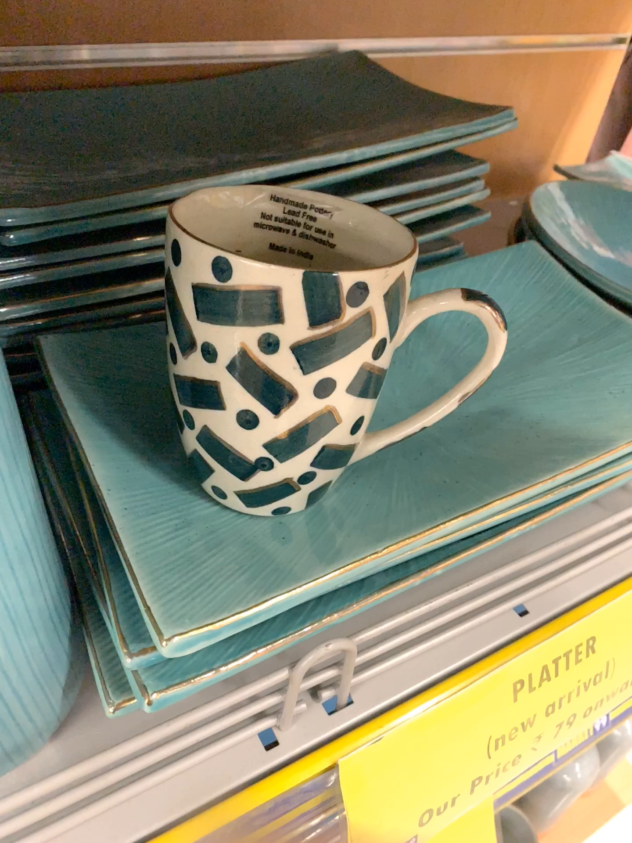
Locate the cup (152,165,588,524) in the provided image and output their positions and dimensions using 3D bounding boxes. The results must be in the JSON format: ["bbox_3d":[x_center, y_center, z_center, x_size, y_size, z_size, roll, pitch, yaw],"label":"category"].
[{"bbox_3d":[0.004,-0.026,0.212,0.110,0.080,0.080,0,34,-15],"label":"cup"}]
